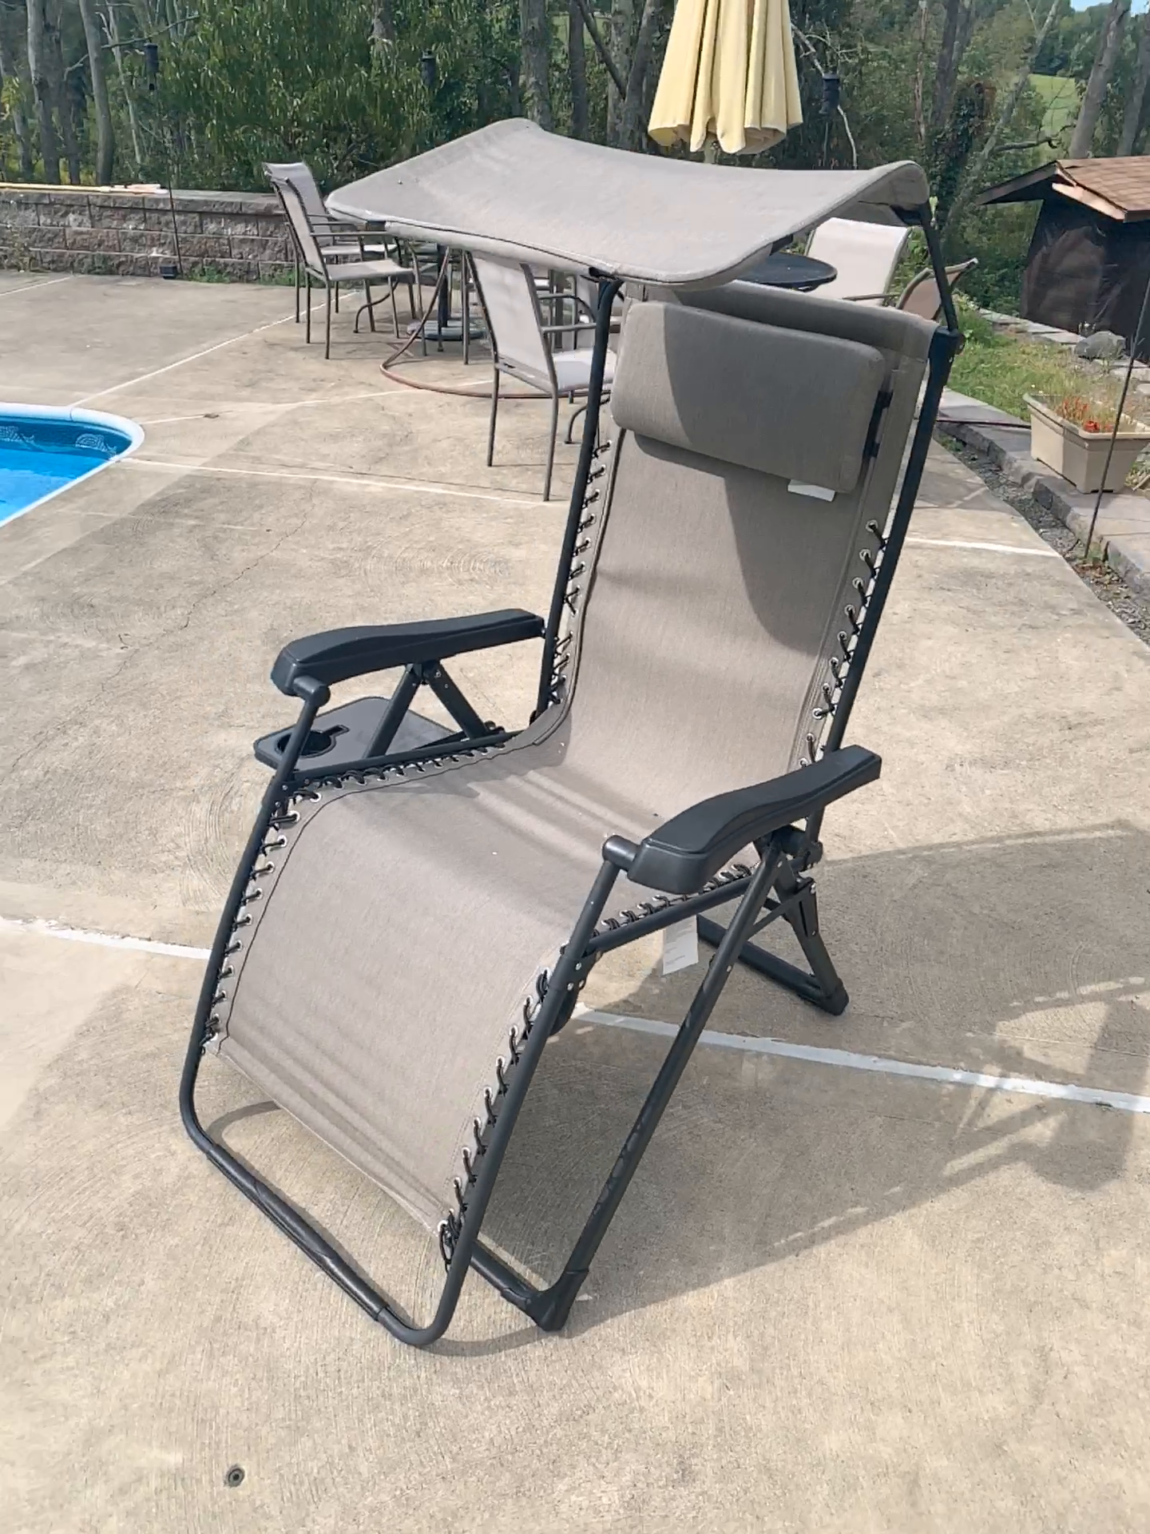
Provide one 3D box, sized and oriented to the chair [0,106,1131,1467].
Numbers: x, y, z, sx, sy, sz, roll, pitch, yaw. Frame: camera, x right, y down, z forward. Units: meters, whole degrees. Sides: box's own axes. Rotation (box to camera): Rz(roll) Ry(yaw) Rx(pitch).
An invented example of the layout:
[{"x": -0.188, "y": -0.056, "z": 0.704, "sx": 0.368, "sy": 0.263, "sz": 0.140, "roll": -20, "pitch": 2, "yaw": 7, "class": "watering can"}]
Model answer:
[{"x": -0.166, "y": -0.155, "z": 1.469, "sx": 1.065, "sy": 1.137, "sz": 0.910, "roll": 25, "pitch": 38, "yaw": 35, "class": "chair"}]
